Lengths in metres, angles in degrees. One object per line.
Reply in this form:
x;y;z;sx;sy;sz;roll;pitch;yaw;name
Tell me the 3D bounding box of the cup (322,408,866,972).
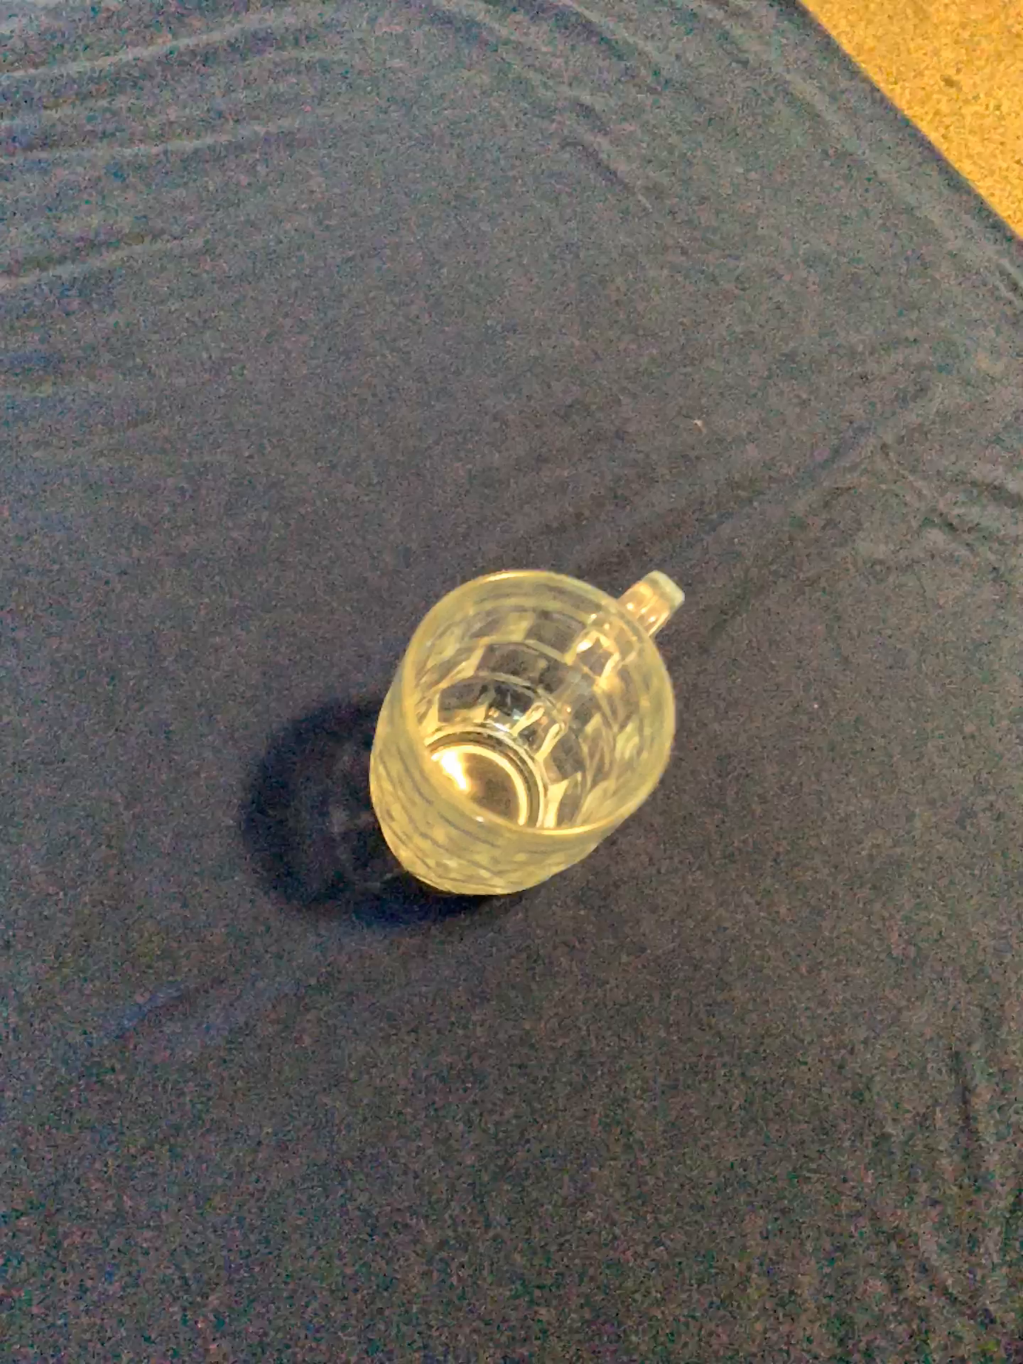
0.018;0.008;0.318;0.080;0.110;0.120;43;65;6;cup
